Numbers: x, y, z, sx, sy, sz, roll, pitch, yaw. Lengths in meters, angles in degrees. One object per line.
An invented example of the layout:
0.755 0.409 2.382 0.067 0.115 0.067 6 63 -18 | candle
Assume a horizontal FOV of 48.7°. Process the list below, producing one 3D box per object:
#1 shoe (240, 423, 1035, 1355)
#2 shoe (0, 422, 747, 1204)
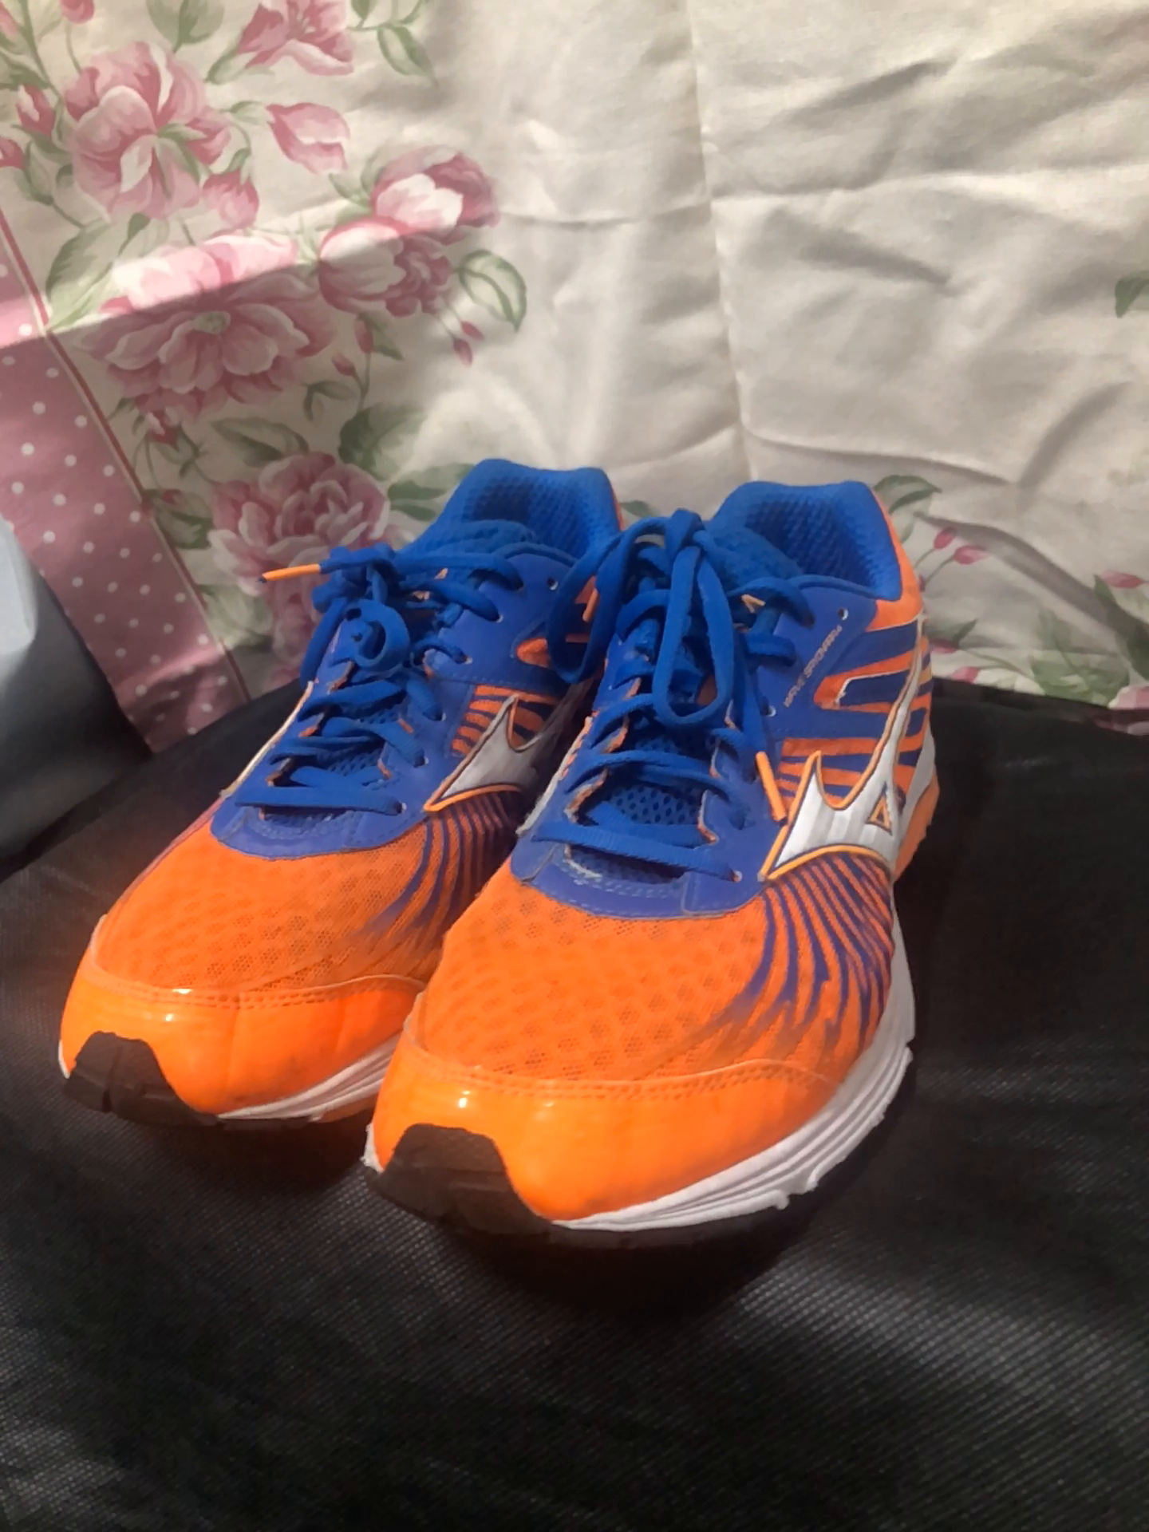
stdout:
0.040 -0.001 0.309 0.110 0.109 0.221 7 30 22 | shoe
-0.036 -0.013 0.352 0.110 0.109 0.221 7 30 22 | shoe
